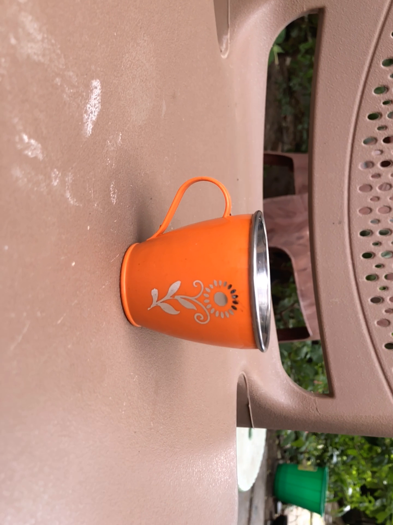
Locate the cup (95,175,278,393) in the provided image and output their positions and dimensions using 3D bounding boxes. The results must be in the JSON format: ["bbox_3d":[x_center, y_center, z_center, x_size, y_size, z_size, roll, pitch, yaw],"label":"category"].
[{"bbox_3d":[0.001,0.006,0.196,0.050,0.060,0.080,-42,130,-64],"label":"cup"}]
